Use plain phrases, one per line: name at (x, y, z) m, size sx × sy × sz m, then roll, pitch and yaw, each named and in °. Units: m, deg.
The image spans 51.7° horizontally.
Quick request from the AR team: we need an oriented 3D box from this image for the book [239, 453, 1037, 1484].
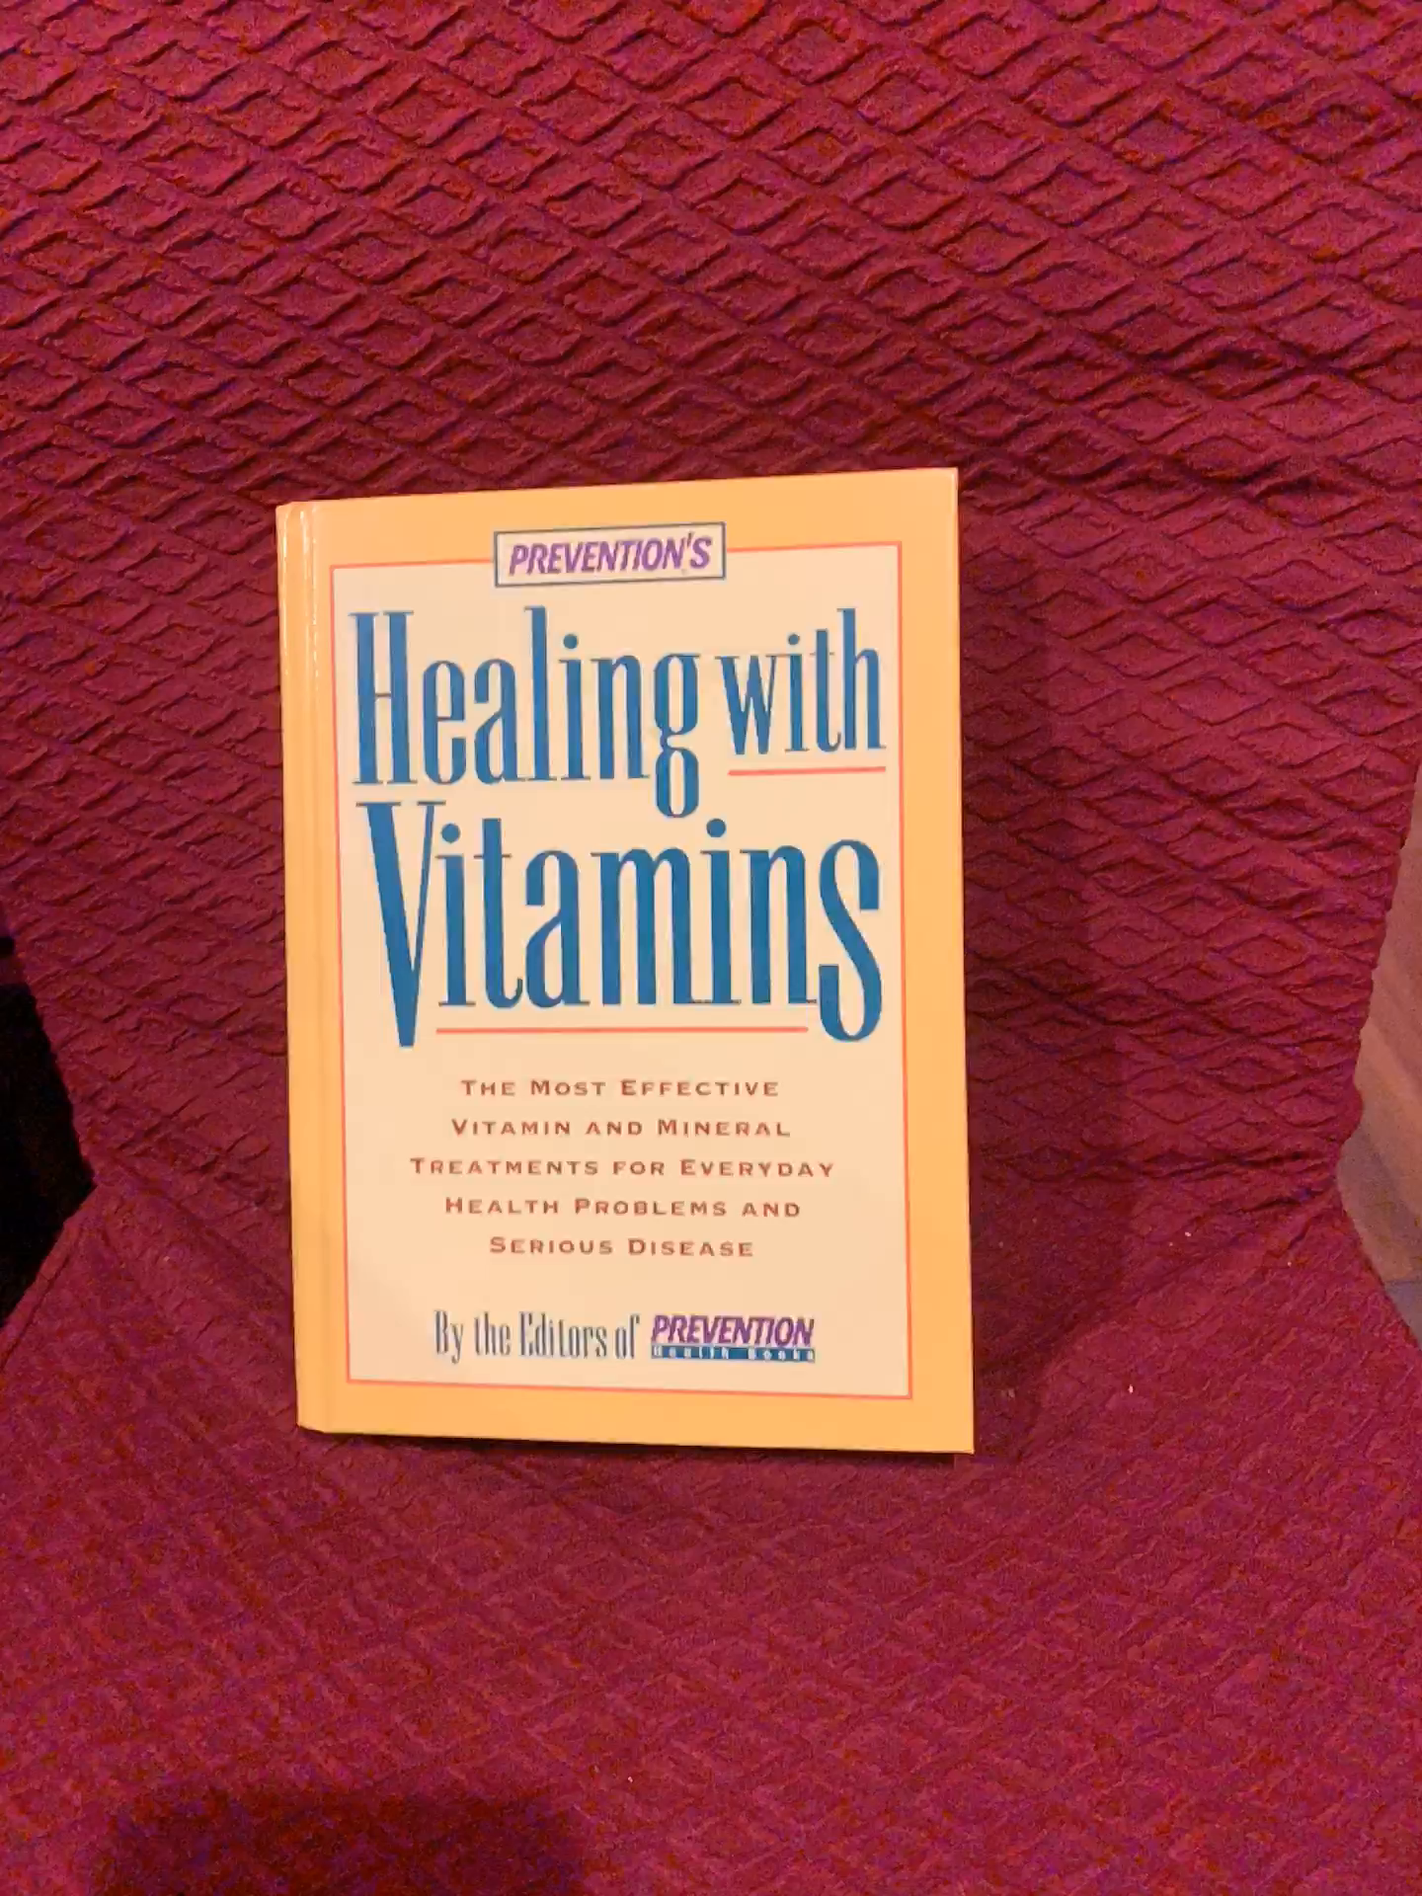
book at (-0.018, 0.007, 0.374) m, size 0.190 × 0.240 × 0.040 m, roll -1°, pitch 1°, yaw 8°
